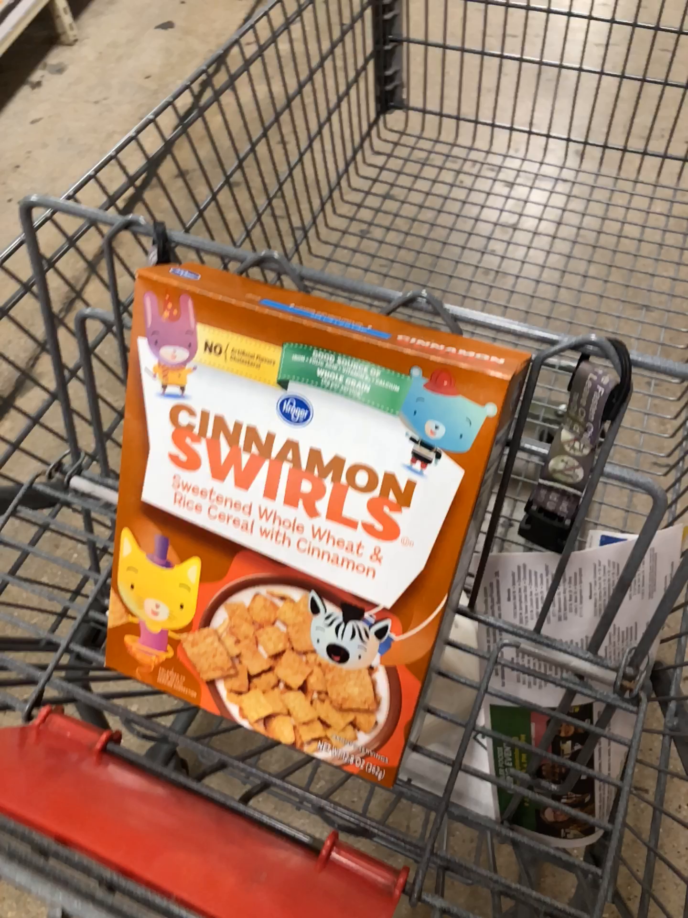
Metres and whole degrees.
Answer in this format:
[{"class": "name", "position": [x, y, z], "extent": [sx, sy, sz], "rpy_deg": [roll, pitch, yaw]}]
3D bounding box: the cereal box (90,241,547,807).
[{"class": "cereal box", "position": [-0.031, 0.036, 0.419], "extent": [0.210, 0.260, 0.050], "rpy_deg": [18, 24, 15]}]
